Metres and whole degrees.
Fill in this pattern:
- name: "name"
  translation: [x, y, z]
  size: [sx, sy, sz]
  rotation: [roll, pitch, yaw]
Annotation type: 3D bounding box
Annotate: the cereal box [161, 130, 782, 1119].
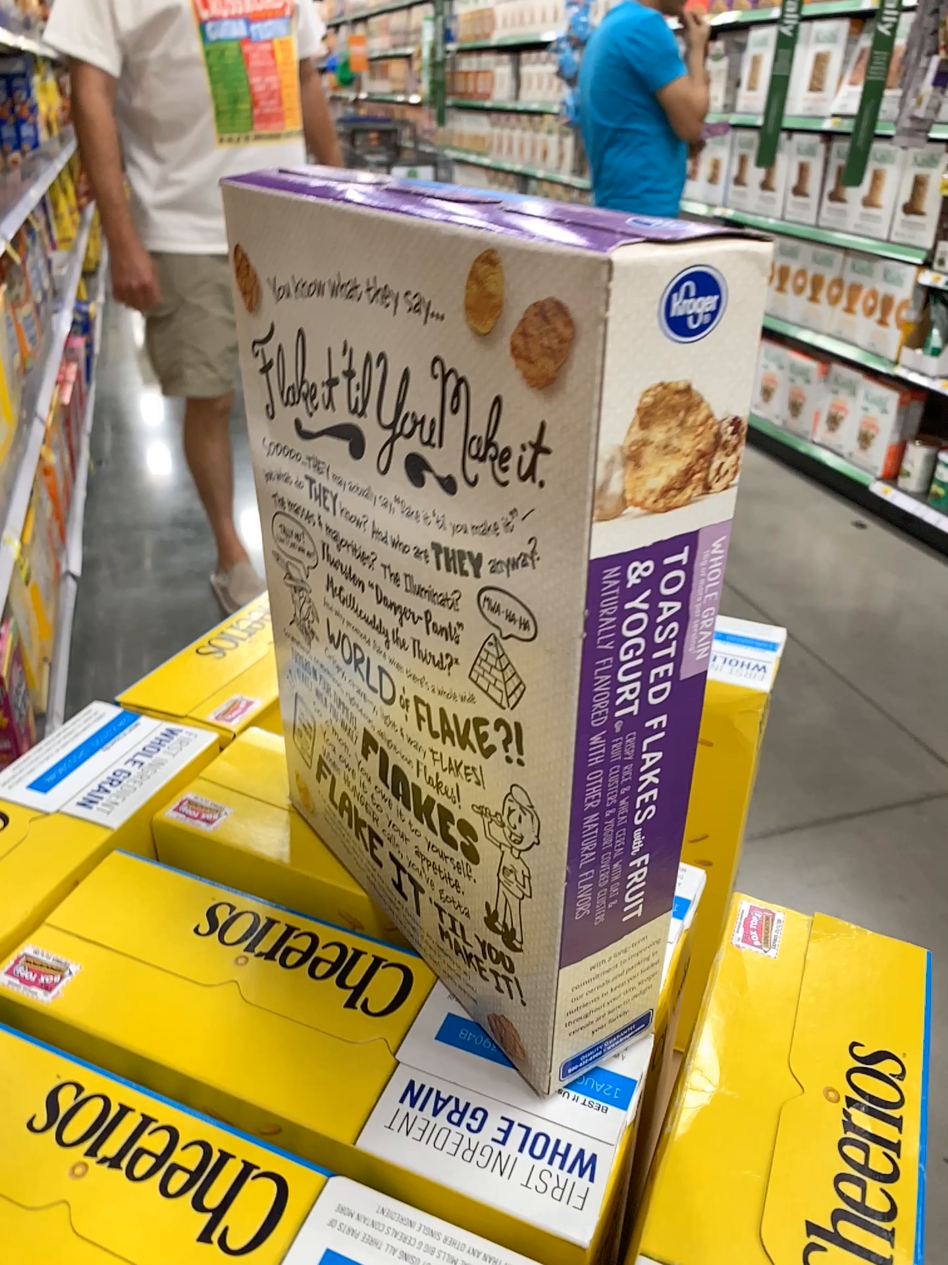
- name: "cereal box"
  translation: [-0.019, -0.014, 0.329]
  size: [0.060, 0.269, 0.201]
  rotation: [-19, 35, -32]
